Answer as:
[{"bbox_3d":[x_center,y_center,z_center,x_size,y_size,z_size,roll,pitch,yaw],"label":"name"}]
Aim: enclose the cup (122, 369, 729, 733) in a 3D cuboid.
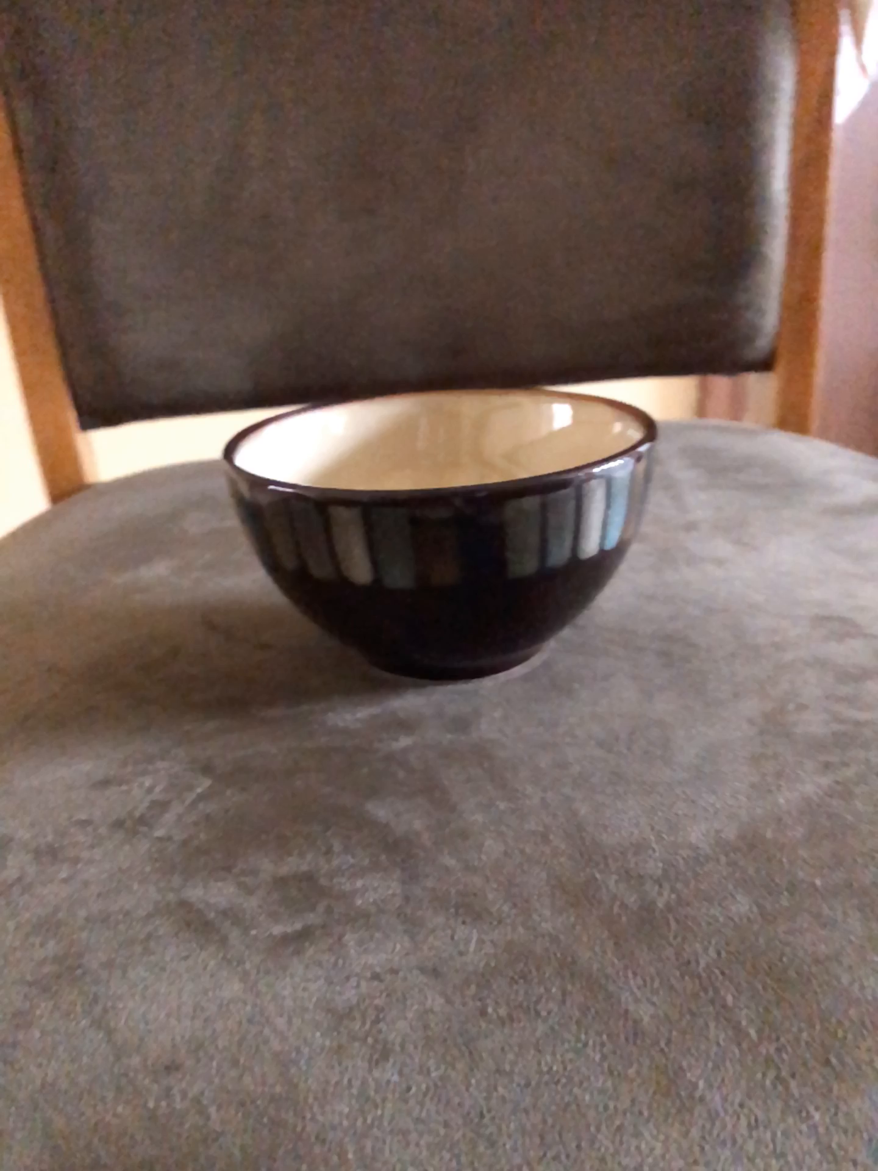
[{"bbox_3d":[0.001,-0.021,0.261,0.115,0.044,0.109,-3,24,1],"label":"cup"}]
